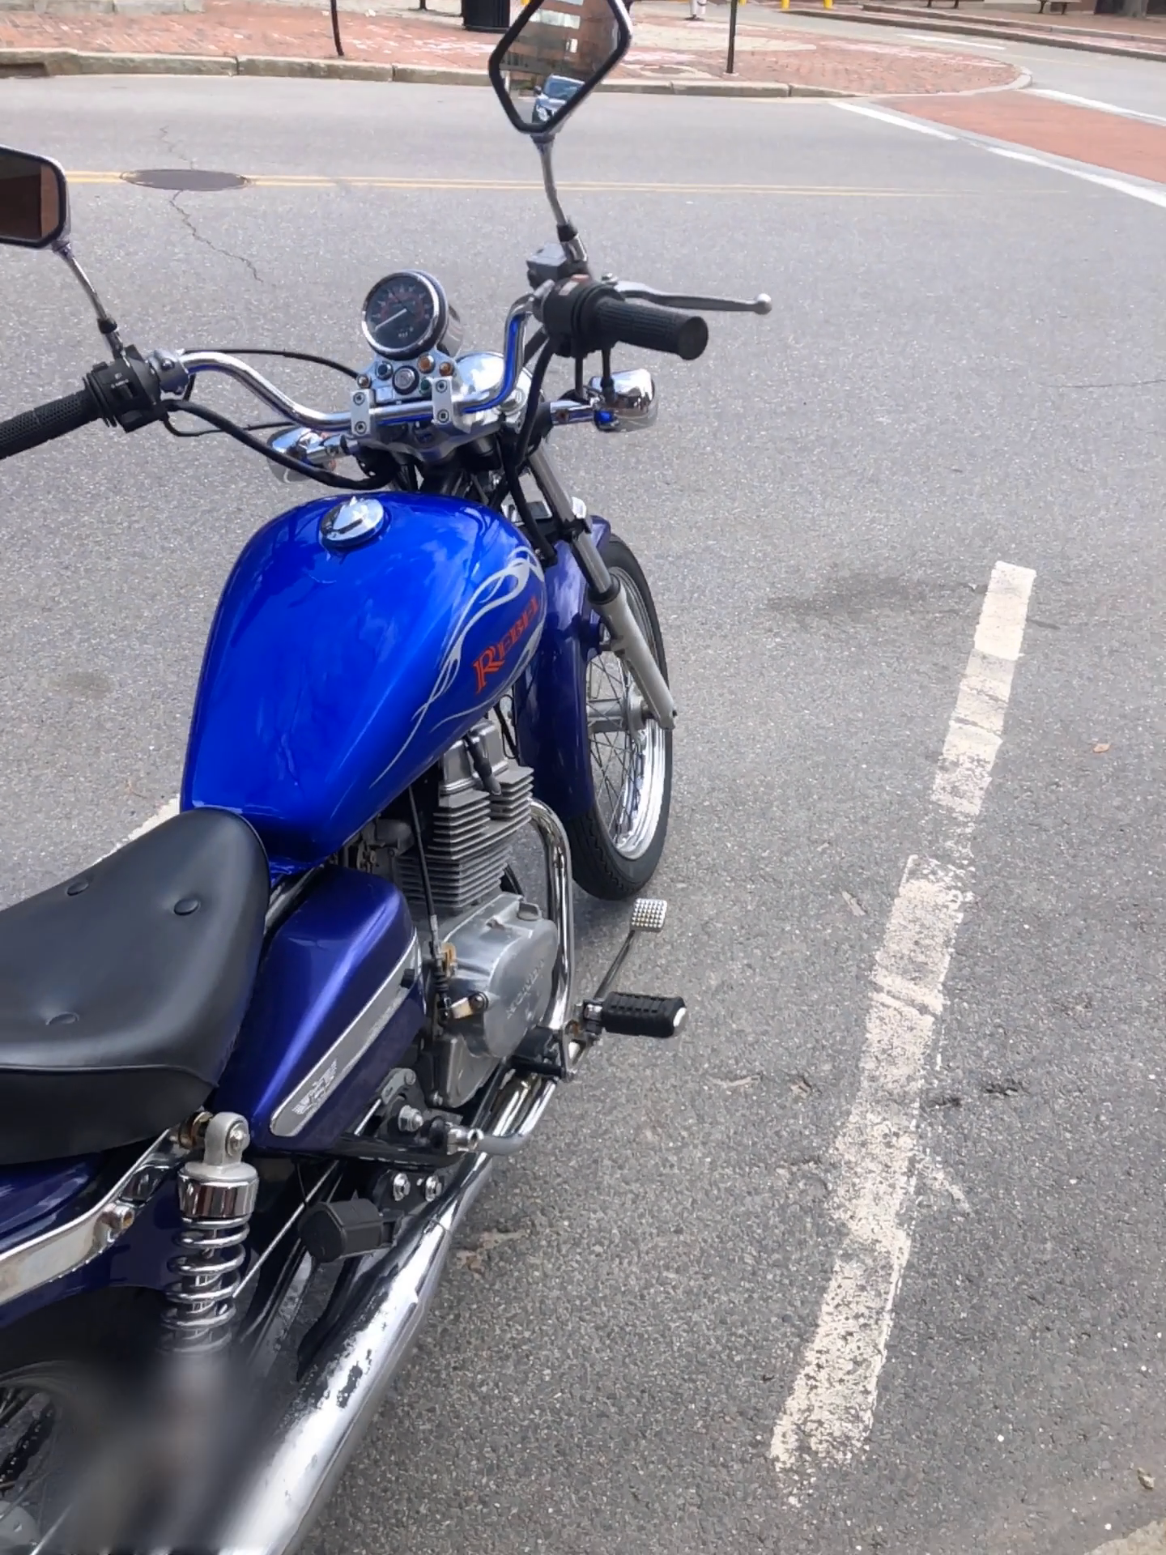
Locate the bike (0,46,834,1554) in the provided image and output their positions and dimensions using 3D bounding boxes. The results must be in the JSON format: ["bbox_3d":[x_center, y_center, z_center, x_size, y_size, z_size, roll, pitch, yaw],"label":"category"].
[{"bbox_3d":[-0.352,-0.036,1.367,0.787,1.036,1.923,12,38,14],"label":"bike"}]
